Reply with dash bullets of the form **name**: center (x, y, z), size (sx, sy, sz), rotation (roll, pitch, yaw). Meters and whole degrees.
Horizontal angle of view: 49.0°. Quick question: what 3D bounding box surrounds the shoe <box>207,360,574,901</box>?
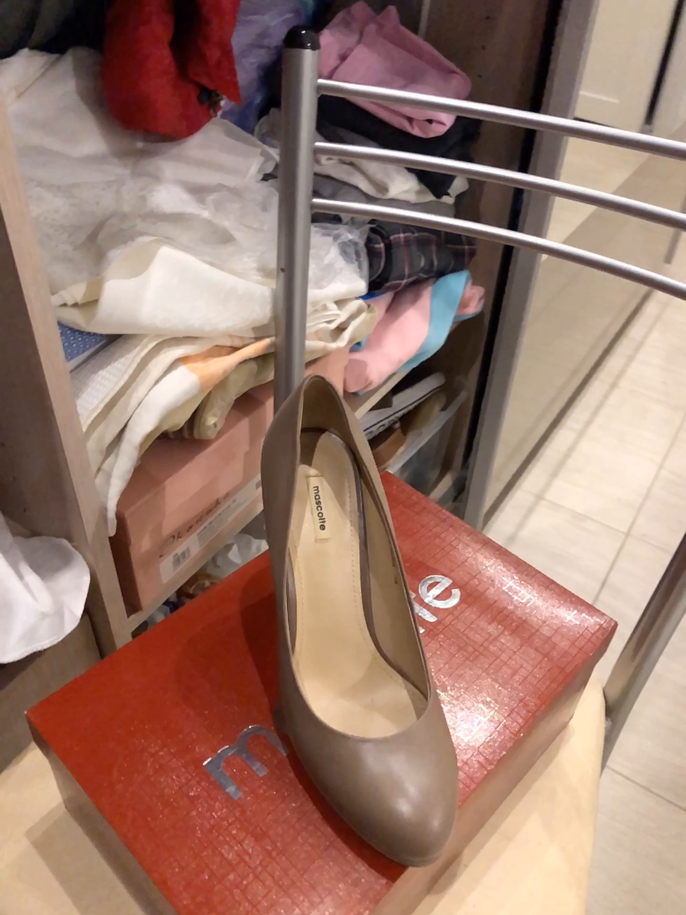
- **shoe**: center (0.004, 0.074, 0.389), size (0.083, 0.145, 0.216), rotation (-13, 43, -18)
